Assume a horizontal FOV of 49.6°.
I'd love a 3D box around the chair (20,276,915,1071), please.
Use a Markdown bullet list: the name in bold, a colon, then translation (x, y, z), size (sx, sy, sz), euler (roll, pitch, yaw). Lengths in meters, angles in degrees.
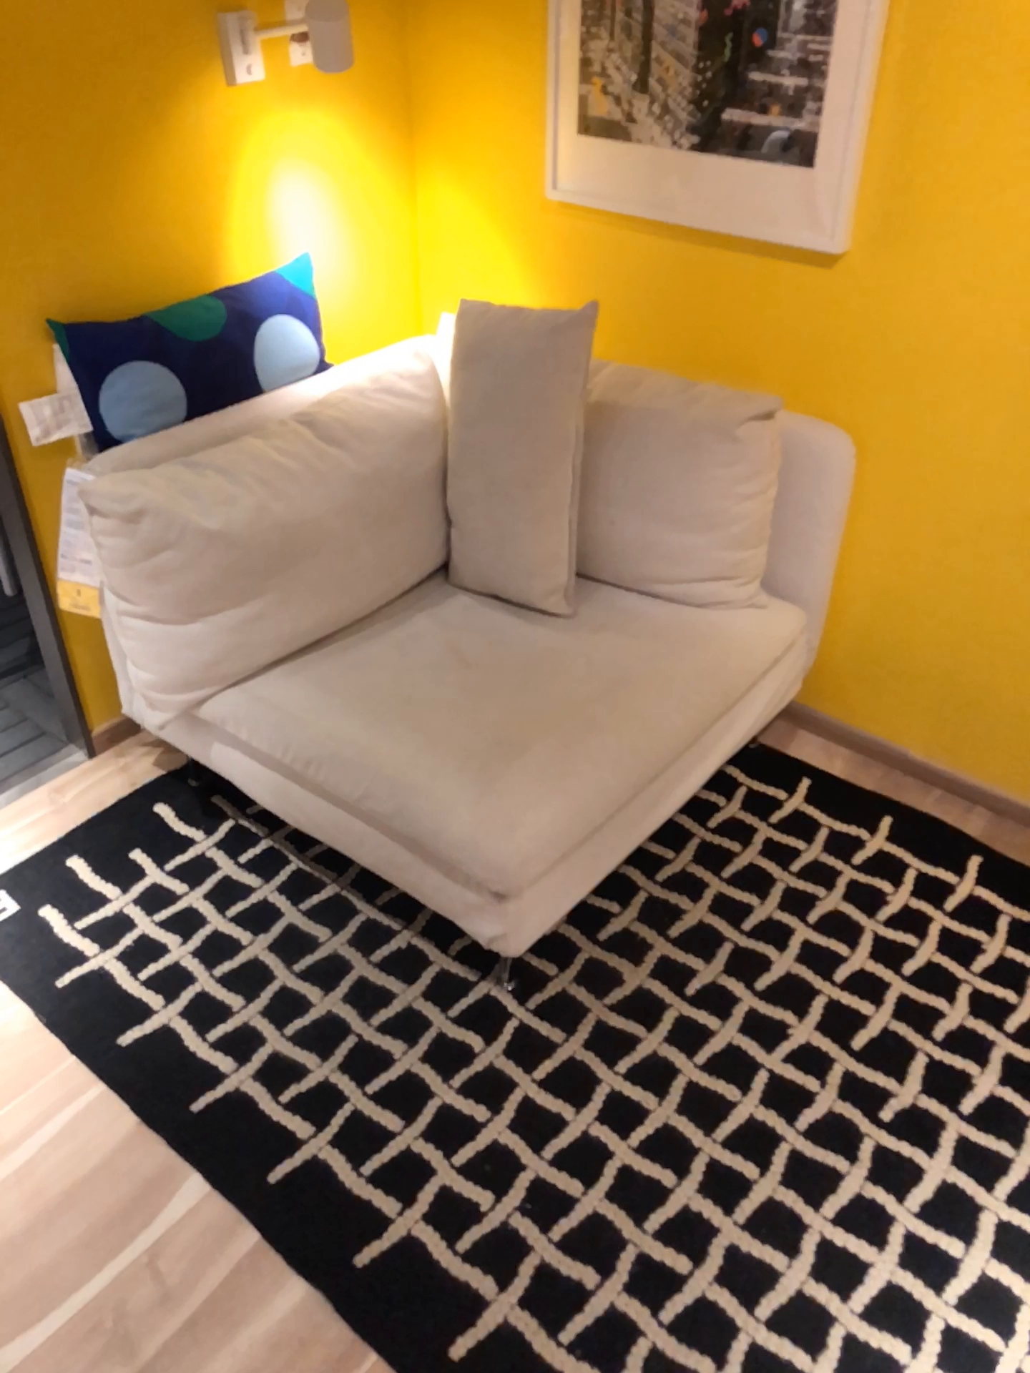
- **chair**: translation (-0.043, -0.166, 2.077), size (1.013, 0.755, 1.114), euler (25, 43, 31)
